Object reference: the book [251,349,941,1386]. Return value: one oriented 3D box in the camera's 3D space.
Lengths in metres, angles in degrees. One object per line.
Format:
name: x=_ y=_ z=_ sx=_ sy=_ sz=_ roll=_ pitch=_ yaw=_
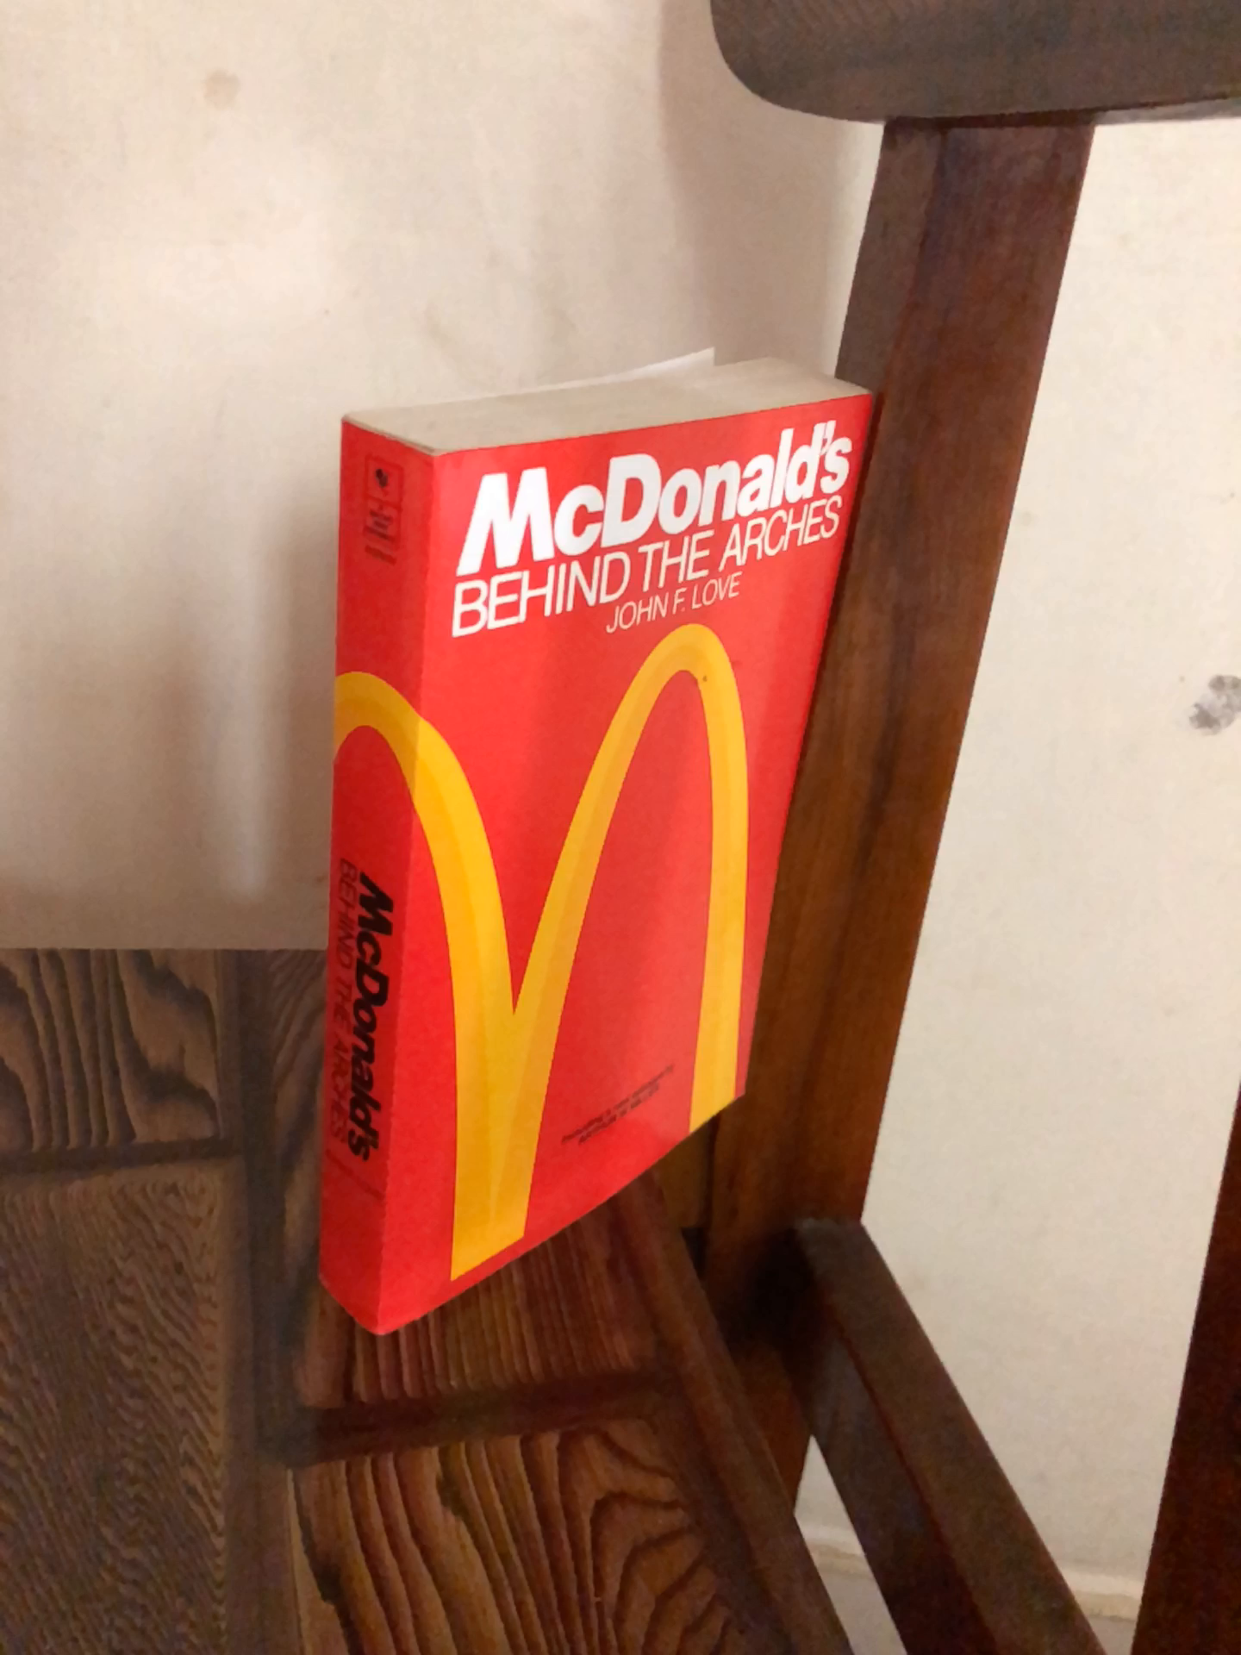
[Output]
book: x=-0.004 y=0.000 z=0.372 sx=0.040 sy=0.239 sz=0.191 roll=26 pitch=30 yaw=32
